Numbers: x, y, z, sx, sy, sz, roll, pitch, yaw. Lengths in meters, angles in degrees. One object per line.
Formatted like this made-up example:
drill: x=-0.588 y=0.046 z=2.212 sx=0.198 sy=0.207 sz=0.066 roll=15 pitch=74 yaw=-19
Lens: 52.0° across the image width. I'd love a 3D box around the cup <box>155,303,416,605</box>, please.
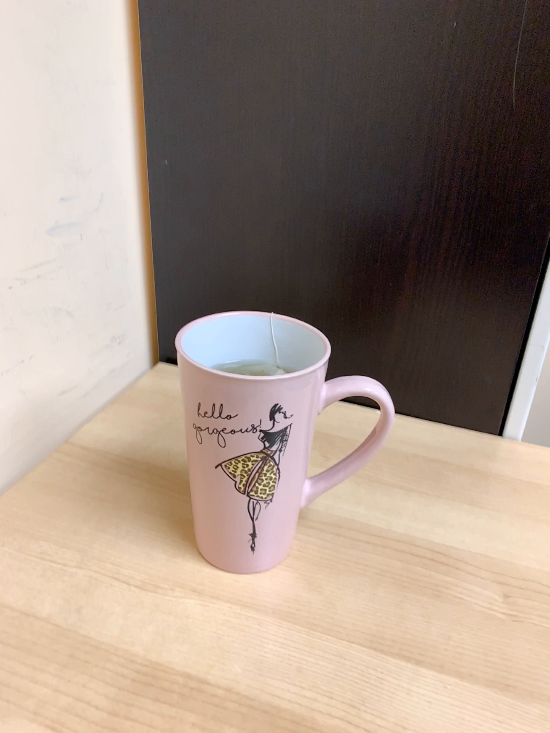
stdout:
cup: x=0.006 y=0.053 z=0.361 sx=0.133 sy=0.151 sz=0.093 roll=6 pitch=27 yaw=5
